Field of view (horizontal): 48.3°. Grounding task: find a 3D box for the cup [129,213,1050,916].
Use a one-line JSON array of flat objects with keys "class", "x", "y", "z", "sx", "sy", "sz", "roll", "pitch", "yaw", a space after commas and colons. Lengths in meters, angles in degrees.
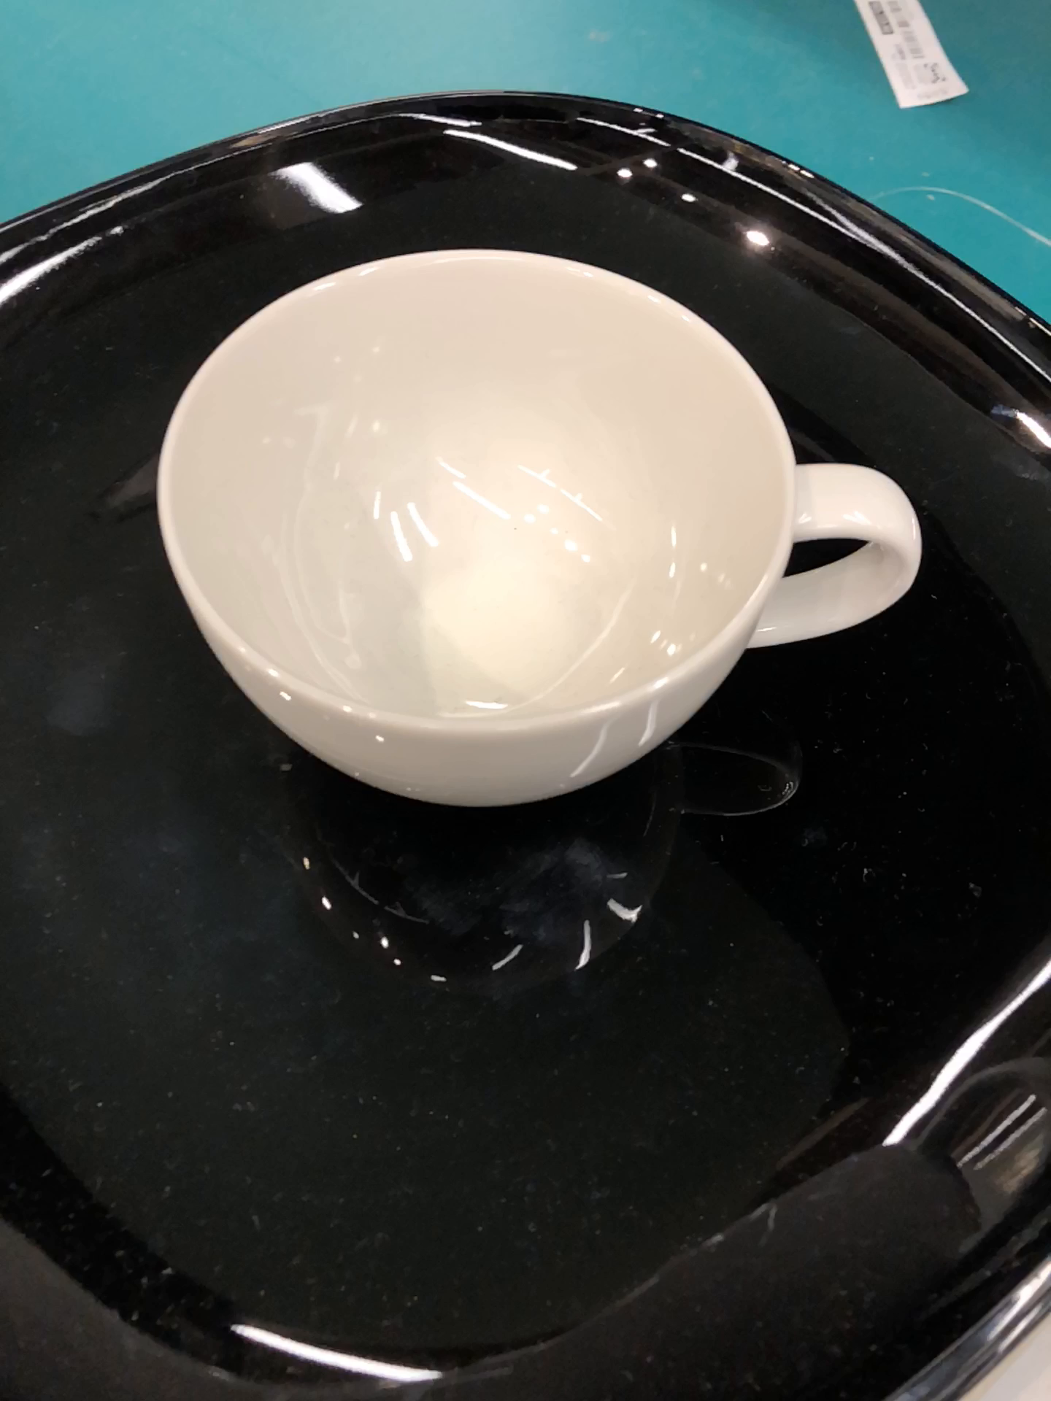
[{"class": "cup", "x": 0.006, "y": -0.029, "z": 0.203, "sx": 0.130, "sy": 0.040, "sz": 0.110, "roll": -6, "pitch": 56, "yaw": -4}]
